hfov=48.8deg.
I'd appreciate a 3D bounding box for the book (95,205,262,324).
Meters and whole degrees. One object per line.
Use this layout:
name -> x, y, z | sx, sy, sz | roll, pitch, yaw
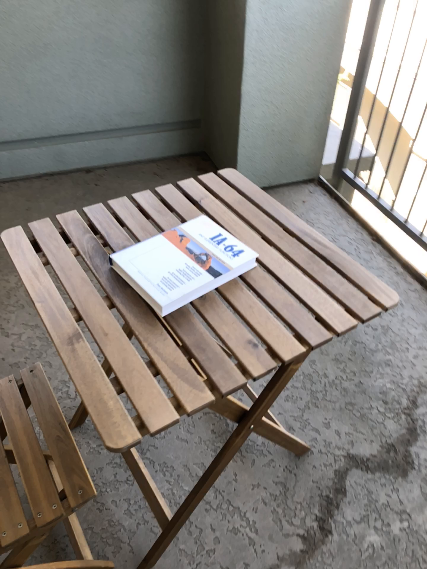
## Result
book -> -0.067, -0.052, 0.915 | 0.250, 0.040, 0.201 | -28, 50, -28
